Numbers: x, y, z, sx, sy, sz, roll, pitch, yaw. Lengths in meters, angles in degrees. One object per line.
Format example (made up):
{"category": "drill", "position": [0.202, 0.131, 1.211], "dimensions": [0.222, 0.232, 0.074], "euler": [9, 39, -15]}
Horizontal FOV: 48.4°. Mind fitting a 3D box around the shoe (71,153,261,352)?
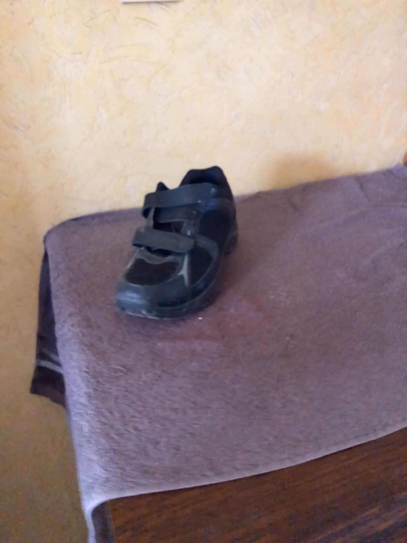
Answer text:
{"category": "shoe", "position": [-0.020, -0.044, 0.531], "dimensions": [0.110, 0.109, 0.272], "euler": [8, 32, 19]}
